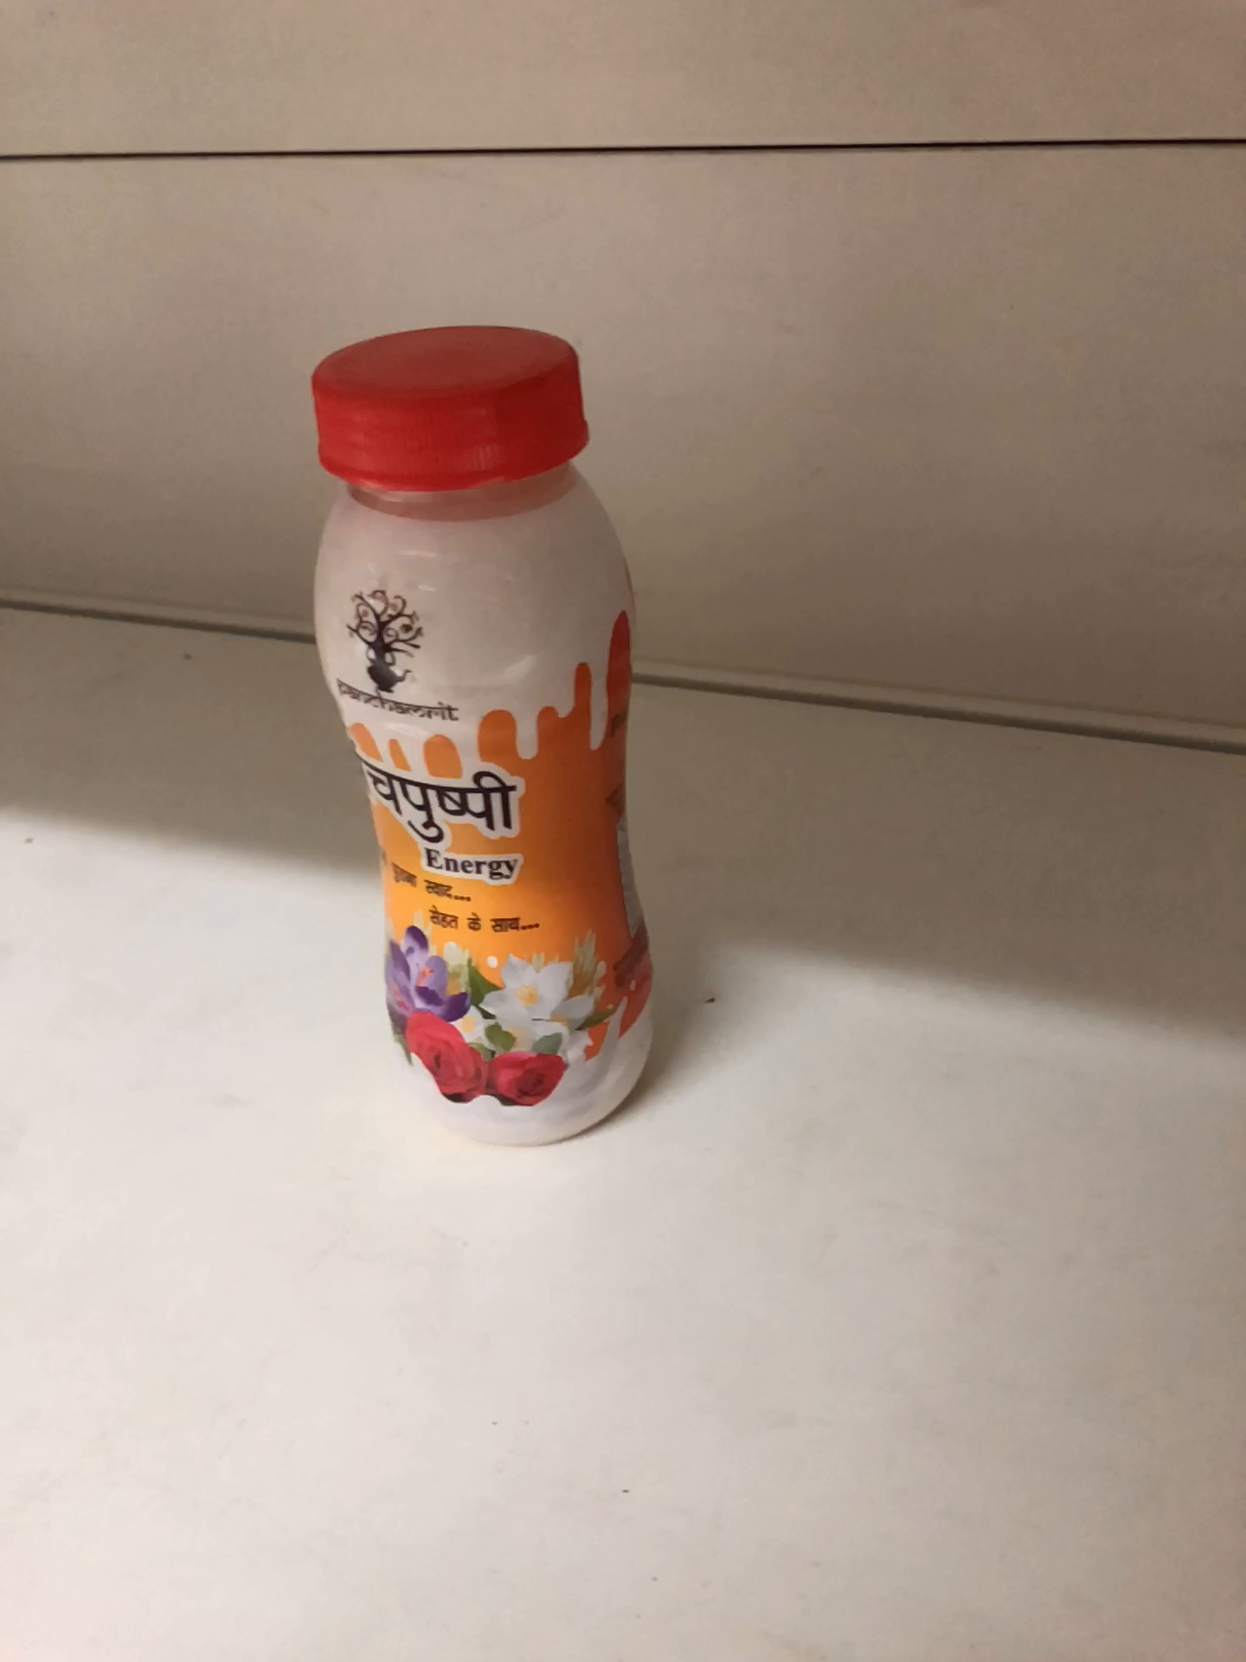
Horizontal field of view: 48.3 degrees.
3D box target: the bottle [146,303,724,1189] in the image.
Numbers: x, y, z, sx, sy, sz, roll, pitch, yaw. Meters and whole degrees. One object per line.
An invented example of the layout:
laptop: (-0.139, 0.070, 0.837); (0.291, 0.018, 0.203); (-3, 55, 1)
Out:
bottle: (-0.022, -0.015, 0.235); (0.060, 0.129, 0.060); (-3, 30, 2)
